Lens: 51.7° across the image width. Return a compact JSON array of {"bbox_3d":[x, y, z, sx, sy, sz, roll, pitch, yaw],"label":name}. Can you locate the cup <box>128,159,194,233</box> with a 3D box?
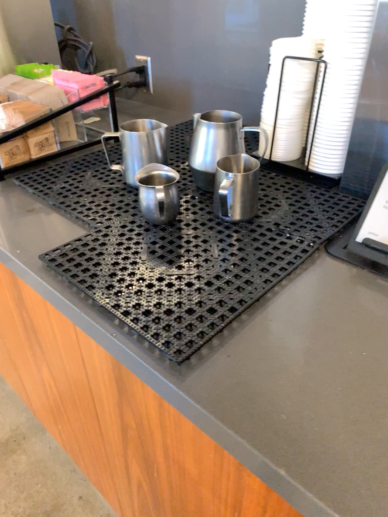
[{"bbox_3d":[-0.053,-0.101,0.623,0.080,0.060,0.121,-8,35,-10],"label":"cup"}]

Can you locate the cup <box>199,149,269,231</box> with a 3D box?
[{"bbox_3d":[0.064,-0.111,0.628,0.080,0.079,0.111,11,37,16],"label":"cup"}]

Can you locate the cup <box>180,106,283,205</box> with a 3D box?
[{"bbox_3d":[0.067,-0.191,0.729,0.150,0.129,0.100,16,38,22],"label":"cup"}]

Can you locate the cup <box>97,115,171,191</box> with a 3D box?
[{"bbox_3d":[-0.106,-0.195,0.737,0.120,0.109,0.081,-4,35,-4],"label":"cup"}]
